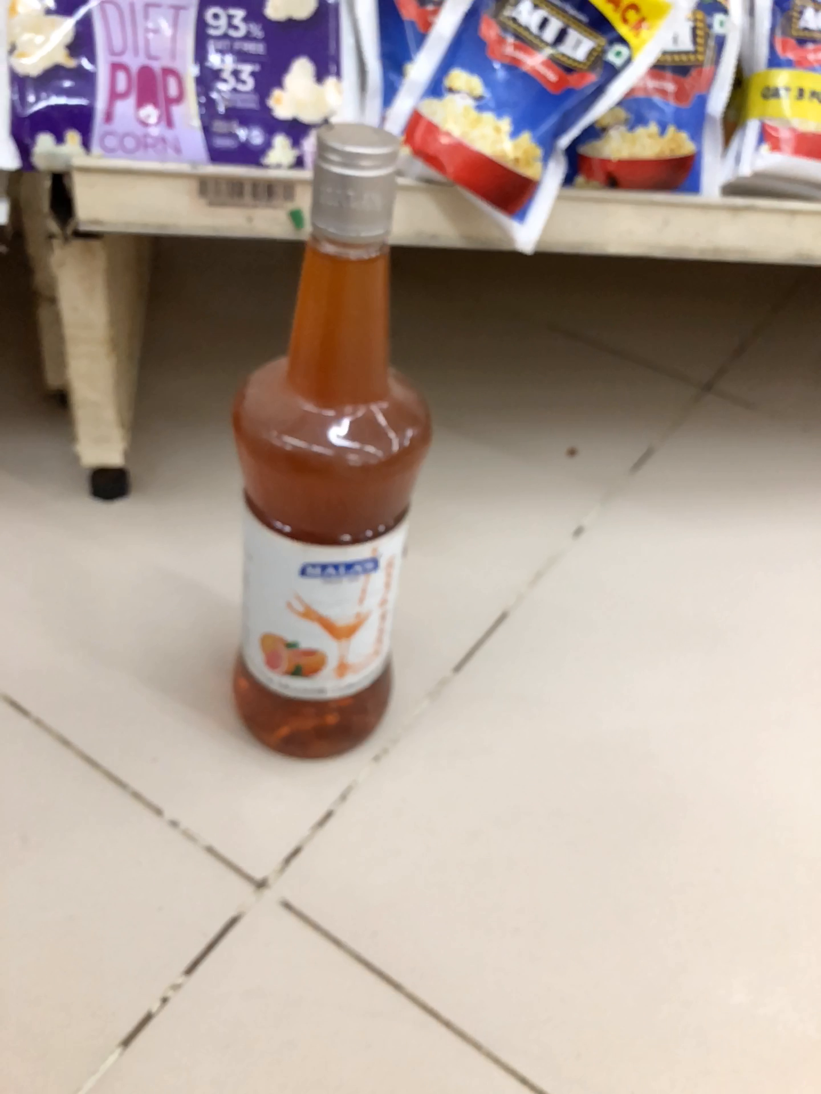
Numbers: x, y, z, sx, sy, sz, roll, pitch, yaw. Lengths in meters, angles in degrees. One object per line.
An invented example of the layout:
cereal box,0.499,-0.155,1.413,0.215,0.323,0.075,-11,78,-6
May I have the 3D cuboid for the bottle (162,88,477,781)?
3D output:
bottle,-0.047,-0.028,0.397,0.090,0.288,0.091,4,41,-3
